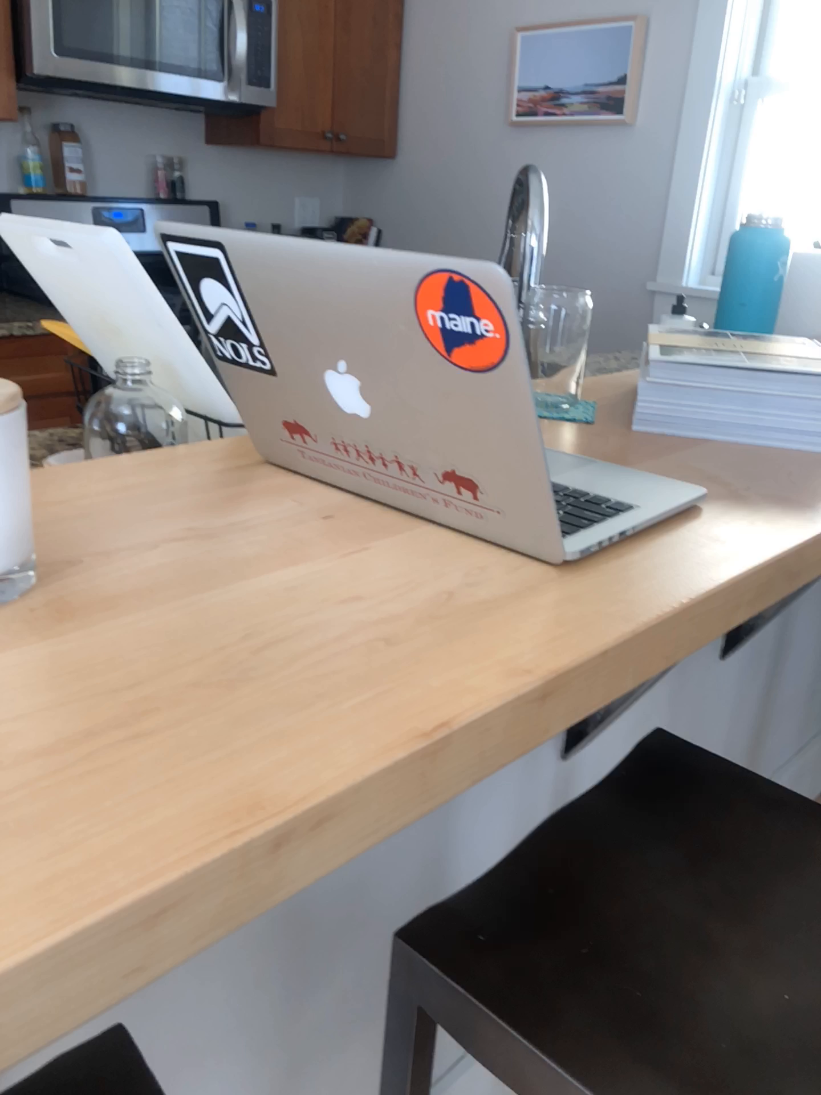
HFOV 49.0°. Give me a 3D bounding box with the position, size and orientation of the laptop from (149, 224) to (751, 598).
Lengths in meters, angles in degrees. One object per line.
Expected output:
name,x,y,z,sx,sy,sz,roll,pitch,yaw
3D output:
laptop,0.031,-0.144,0.718,0.322,0.188,0.324,21,28,37
